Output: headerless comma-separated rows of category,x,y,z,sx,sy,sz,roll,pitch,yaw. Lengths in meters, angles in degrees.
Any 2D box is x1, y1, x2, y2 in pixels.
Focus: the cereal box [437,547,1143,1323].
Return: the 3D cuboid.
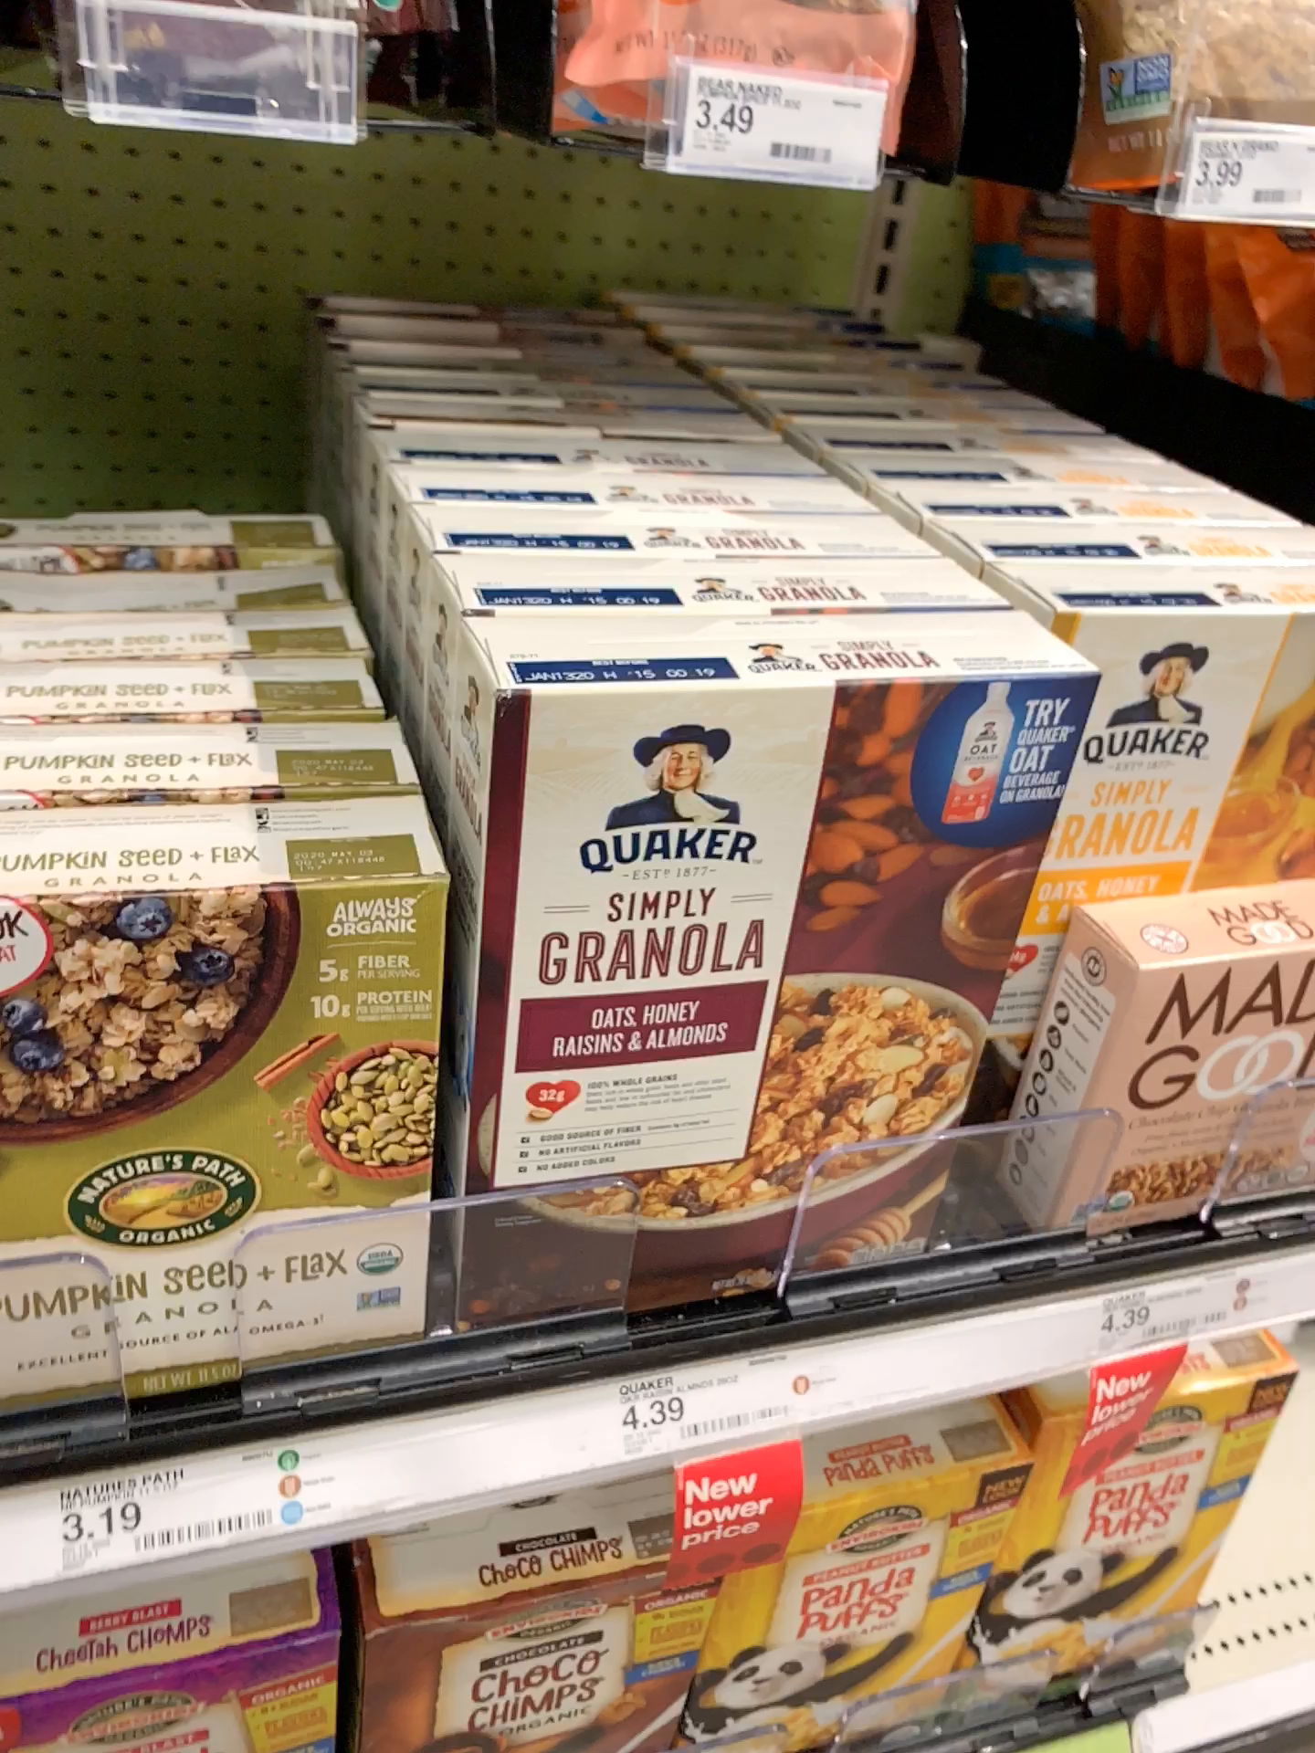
cereal box,0.028,0.024,0.445,0.180,0.249,0.060,-4,34,-19
